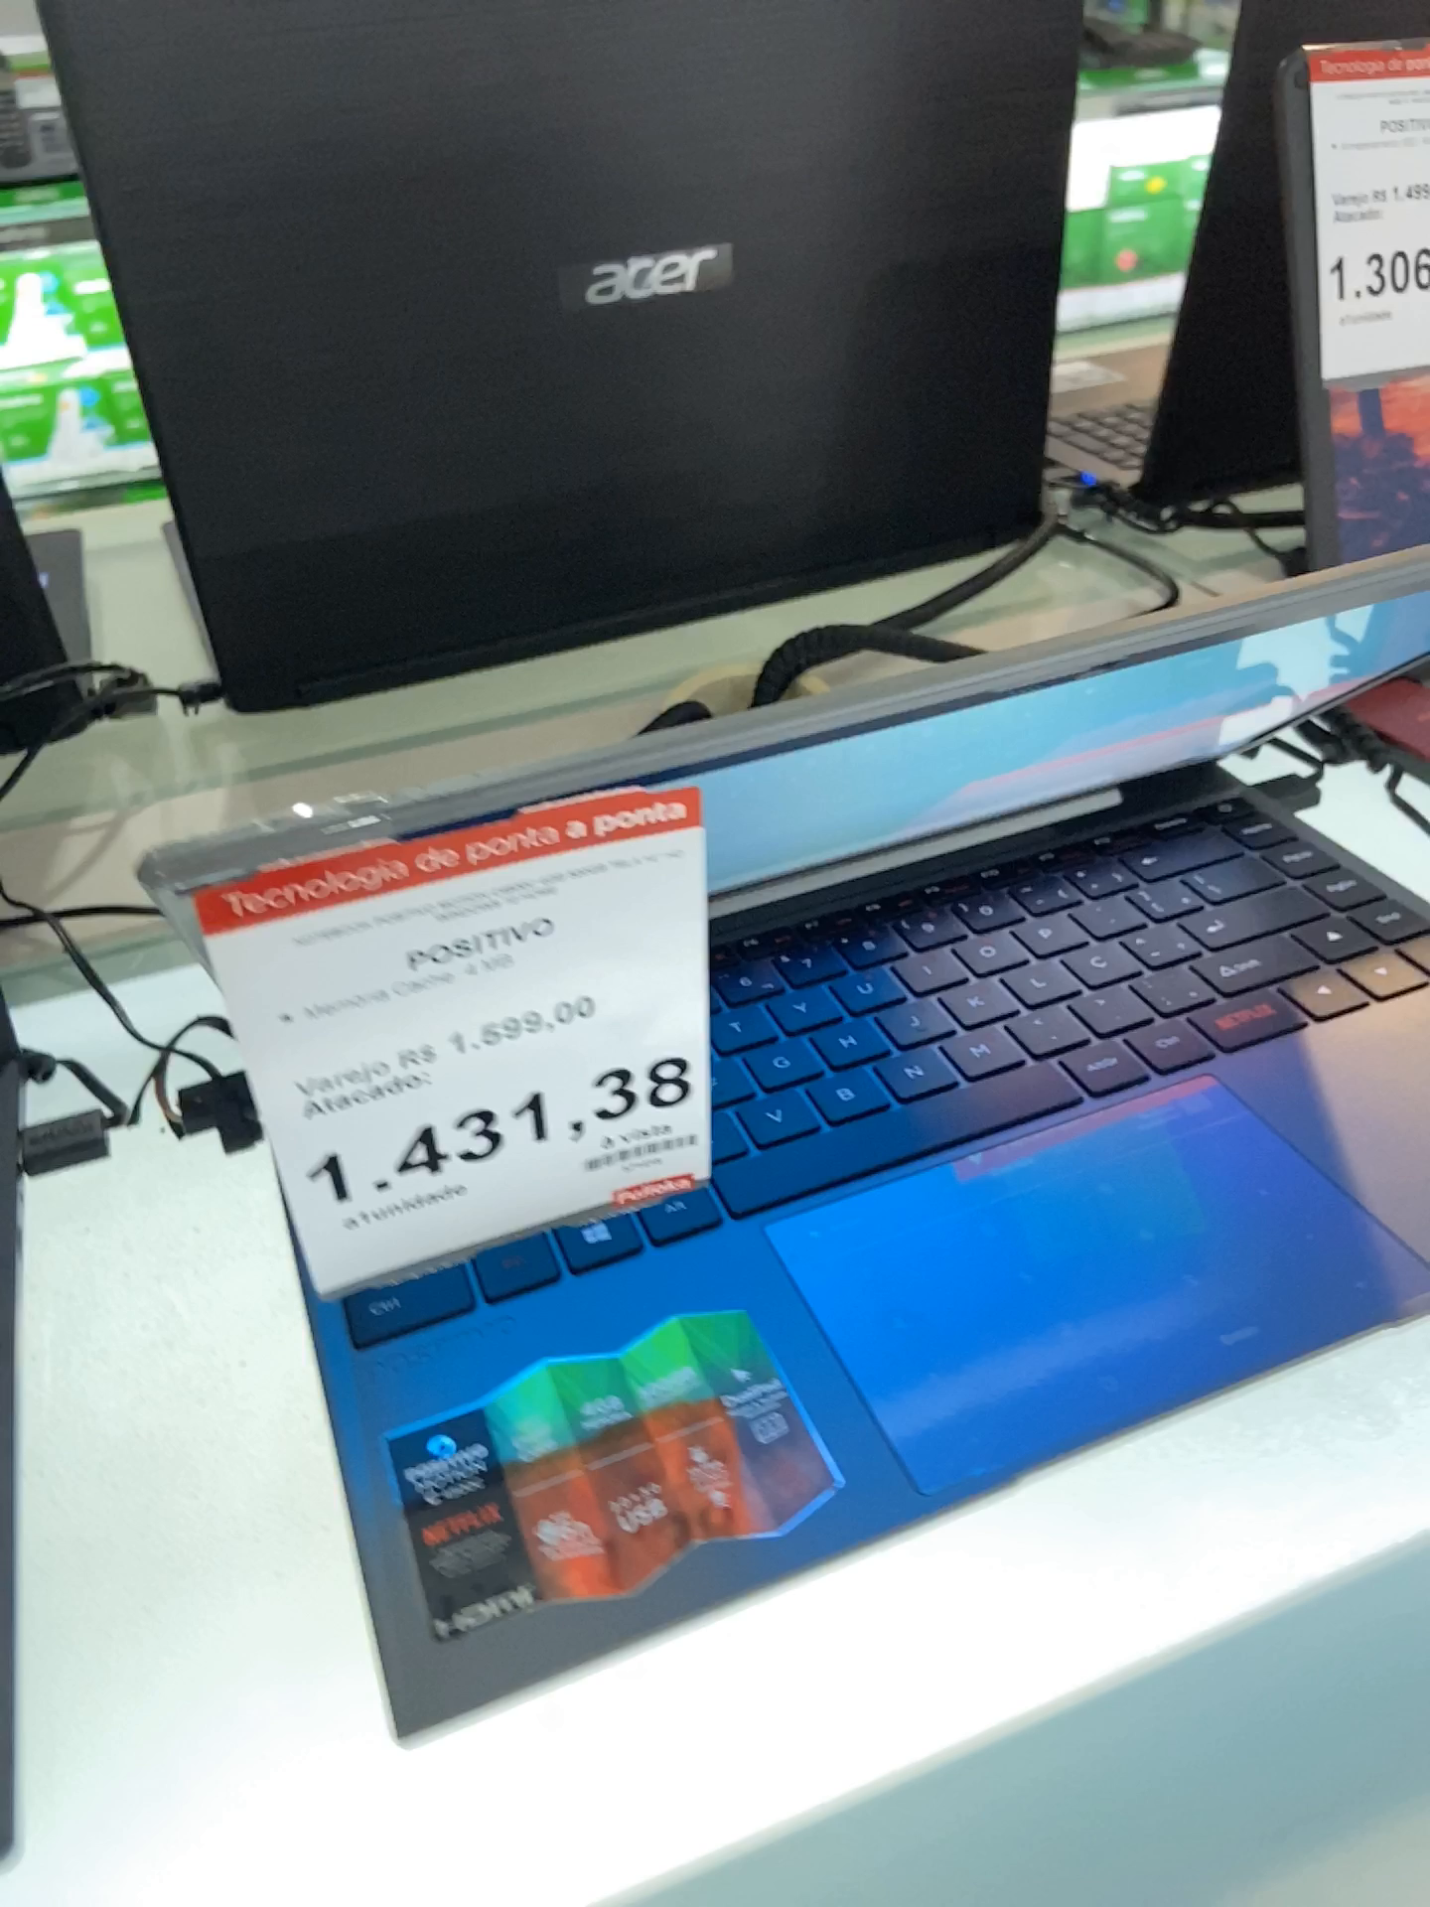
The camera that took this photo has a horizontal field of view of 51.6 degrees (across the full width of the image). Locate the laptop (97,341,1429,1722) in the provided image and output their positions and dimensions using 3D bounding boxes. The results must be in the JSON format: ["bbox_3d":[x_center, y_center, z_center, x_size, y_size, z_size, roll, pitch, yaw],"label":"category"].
[{"bbox_3d":[0.055,-0.024,0.340,0.328,0.139,0.211,-16,36,-16],"label":"laptop"}]
